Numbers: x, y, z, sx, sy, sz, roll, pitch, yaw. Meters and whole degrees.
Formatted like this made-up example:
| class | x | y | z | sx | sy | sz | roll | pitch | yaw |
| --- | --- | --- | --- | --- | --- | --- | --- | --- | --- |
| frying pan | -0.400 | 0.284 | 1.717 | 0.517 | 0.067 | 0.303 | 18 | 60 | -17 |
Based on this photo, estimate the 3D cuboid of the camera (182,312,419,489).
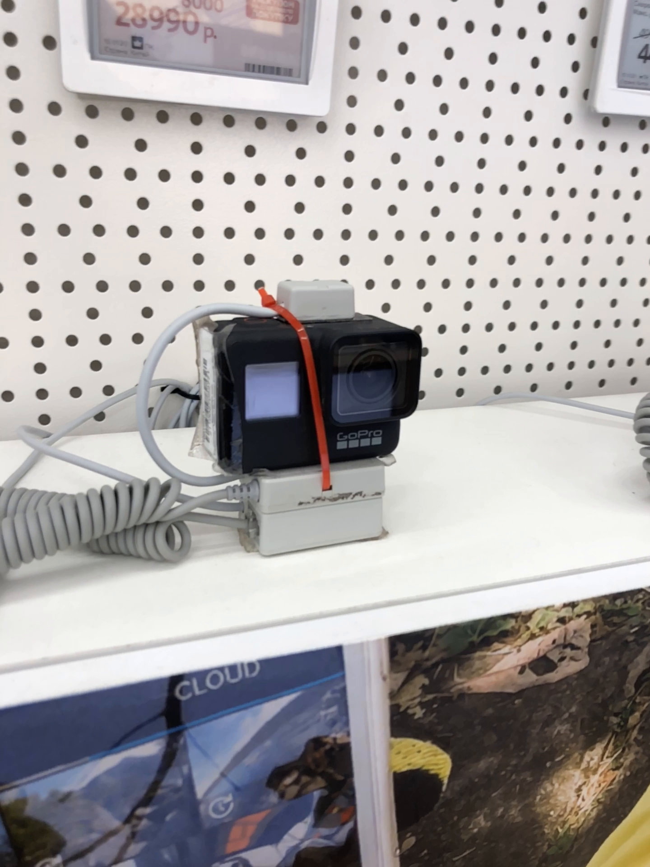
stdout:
| class | x | y | z | sx | sy | sz | roll | pitch | yaw |
| --- | --- | --- | --- | --- | --- | --- | --- | --- | --- |
| camera | -0.008 | -0.013 | 0.223 | 0.064 | 0.043 | 0.032 | -7 | 20 | -24 |
